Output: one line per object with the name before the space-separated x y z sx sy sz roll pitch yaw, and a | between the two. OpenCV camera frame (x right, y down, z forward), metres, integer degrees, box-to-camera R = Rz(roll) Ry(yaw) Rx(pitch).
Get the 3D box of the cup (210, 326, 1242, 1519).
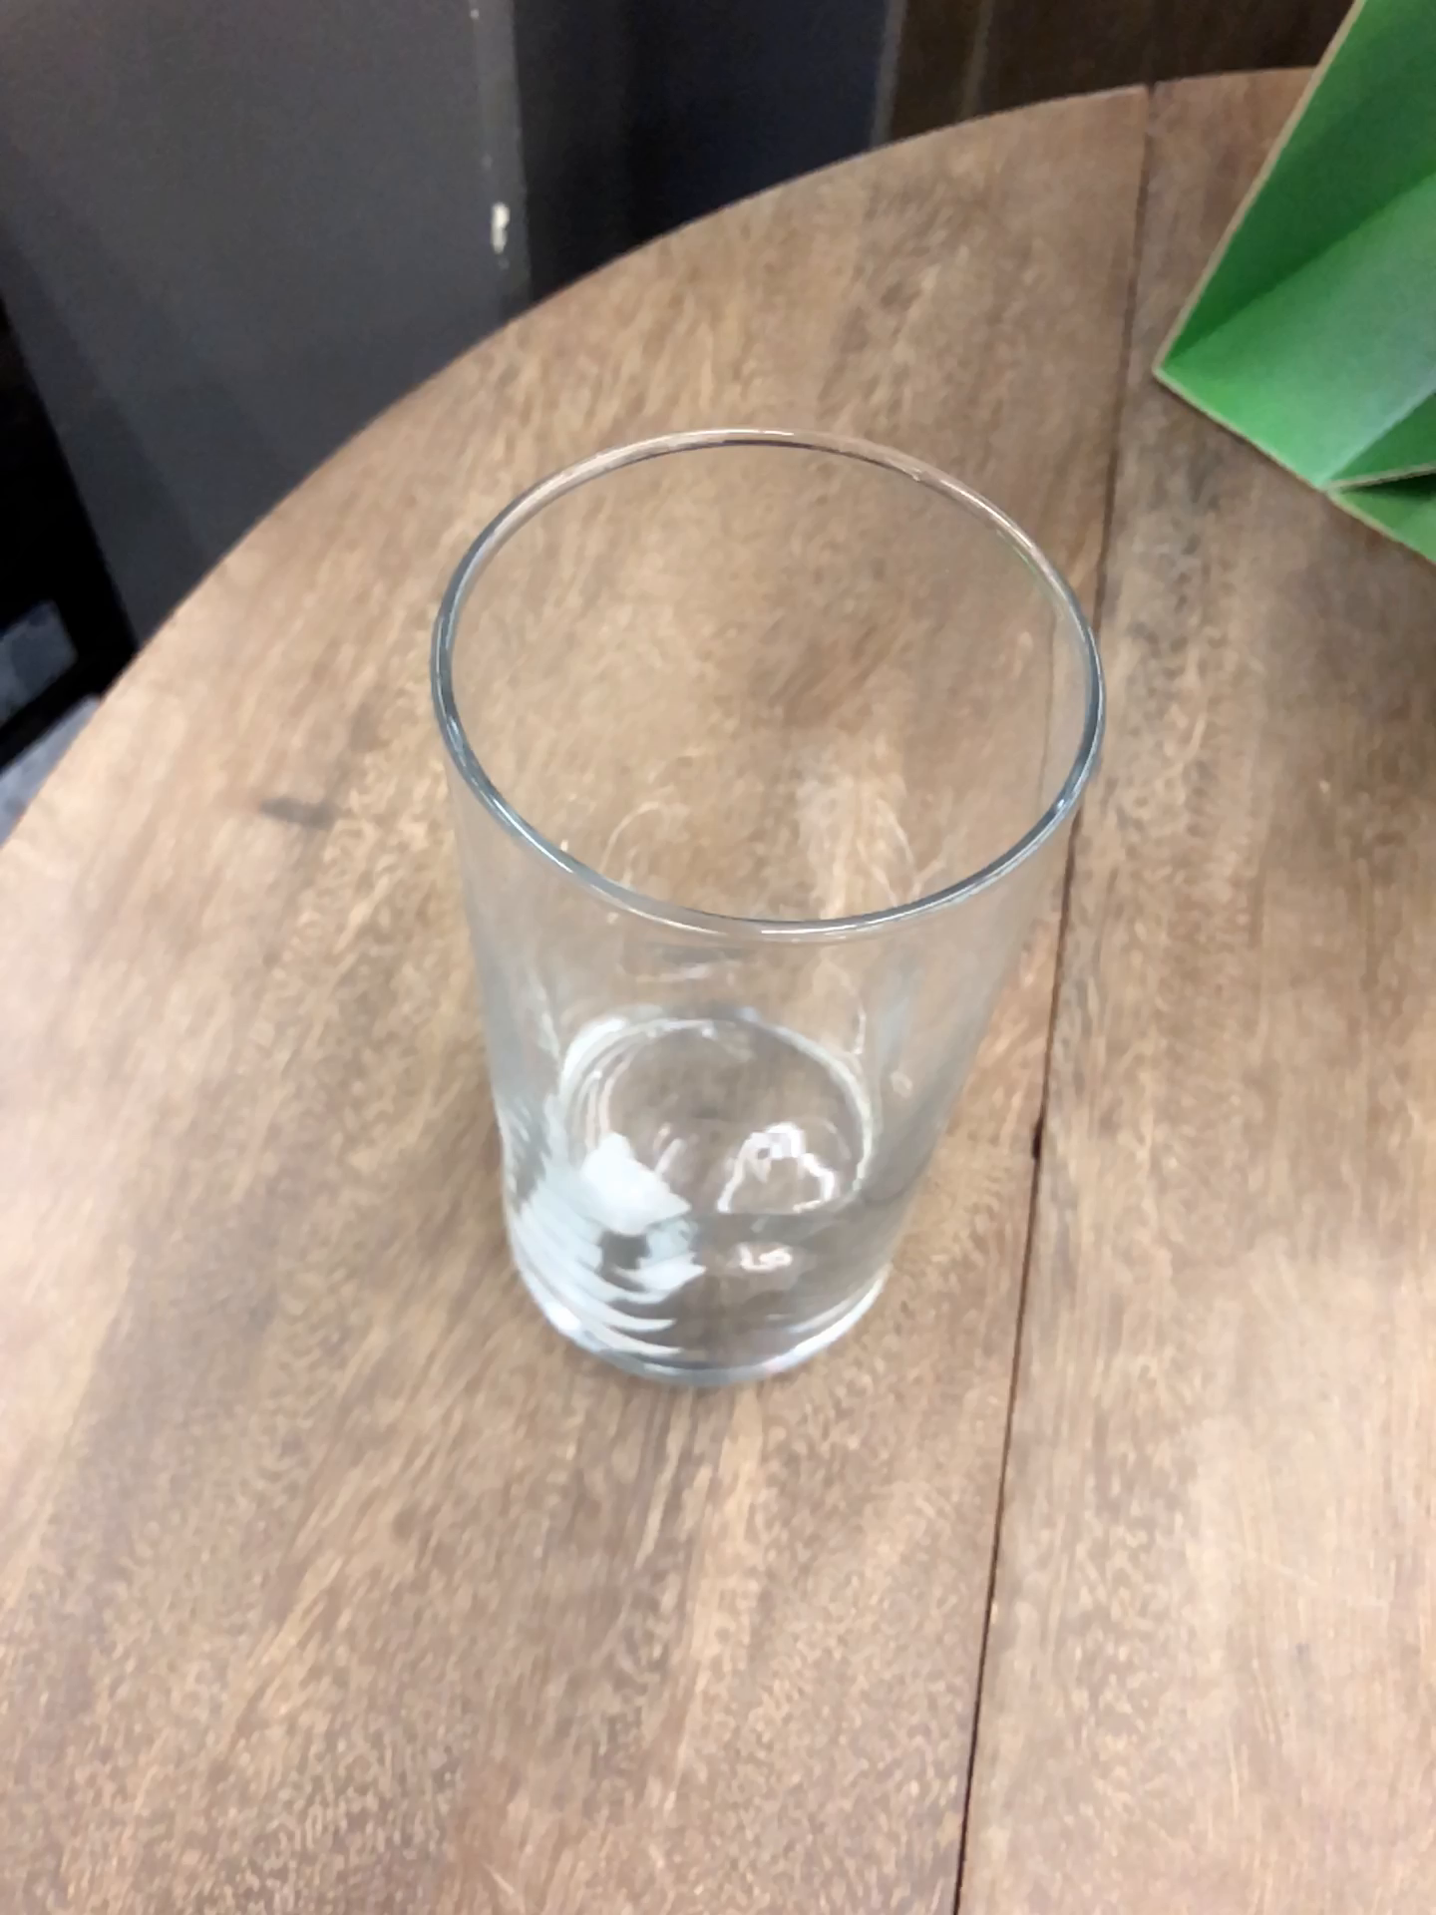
cup | -0.001 0.006 0.234 0.078 0.144 0.081 2 58 -3
